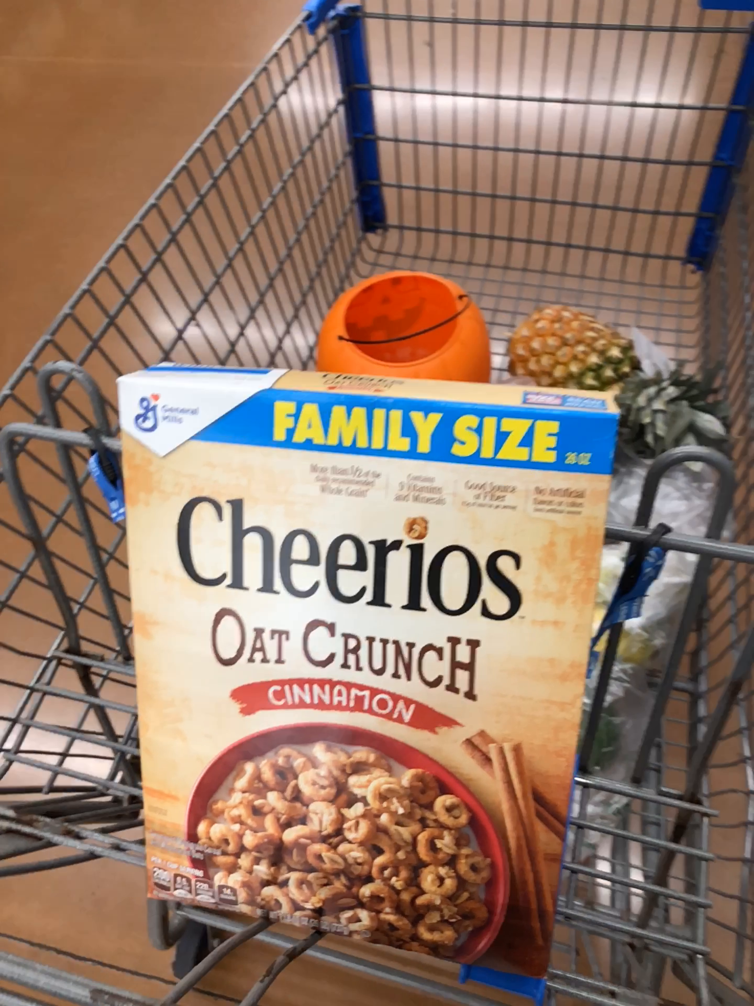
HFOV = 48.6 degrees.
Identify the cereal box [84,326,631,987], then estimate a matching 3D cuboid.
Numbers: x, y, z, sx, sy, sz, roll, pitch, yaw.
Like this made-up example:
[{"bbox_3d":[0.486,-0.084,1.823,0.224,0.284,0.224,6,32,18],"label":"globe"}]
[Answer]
[{"bbox_3d":[-0.015,0.082,0.461,0.250,0.330,0.080,6,19,10],"label":"cereal box"}]
